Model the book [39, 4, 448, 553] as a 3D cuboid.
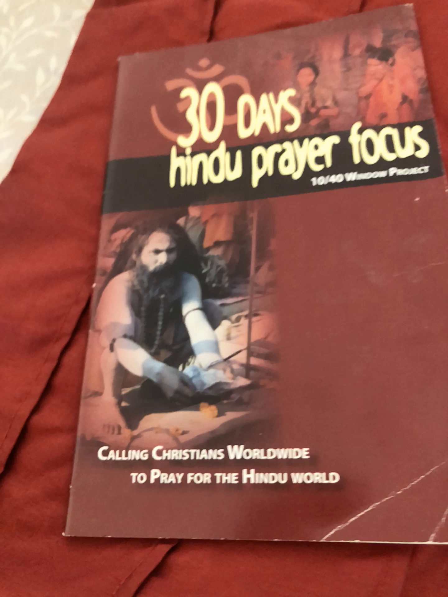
[{"bbox_3d":[0.011,-0.022,0.195,0.141,0.010,0.210,-3,69,10],"label":"book"}]
